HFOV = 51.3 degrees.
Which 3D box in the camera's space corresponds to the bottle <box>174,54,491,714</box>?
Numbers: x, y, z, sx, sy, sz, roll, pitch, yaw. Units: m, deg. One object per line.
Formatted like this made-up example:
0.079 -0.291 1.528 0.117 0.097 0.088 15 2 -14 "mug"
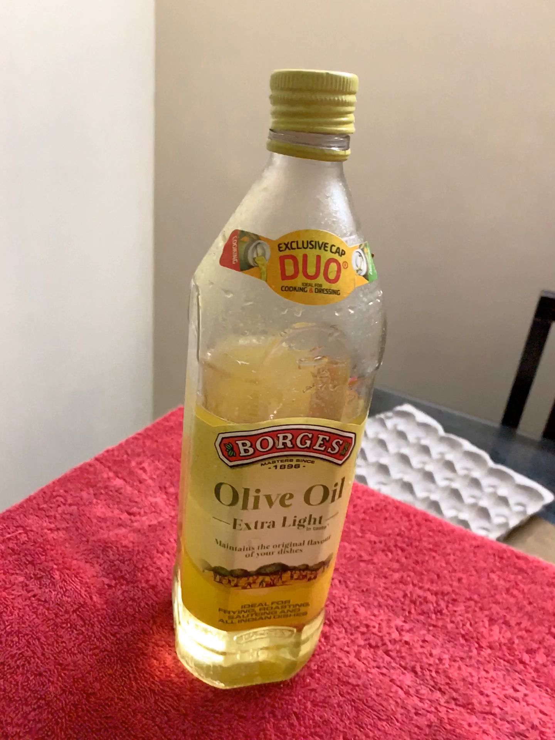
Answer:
0.001 0.023 0.245 0.080 0.268 0.071 0 27 -13 "bottle"
